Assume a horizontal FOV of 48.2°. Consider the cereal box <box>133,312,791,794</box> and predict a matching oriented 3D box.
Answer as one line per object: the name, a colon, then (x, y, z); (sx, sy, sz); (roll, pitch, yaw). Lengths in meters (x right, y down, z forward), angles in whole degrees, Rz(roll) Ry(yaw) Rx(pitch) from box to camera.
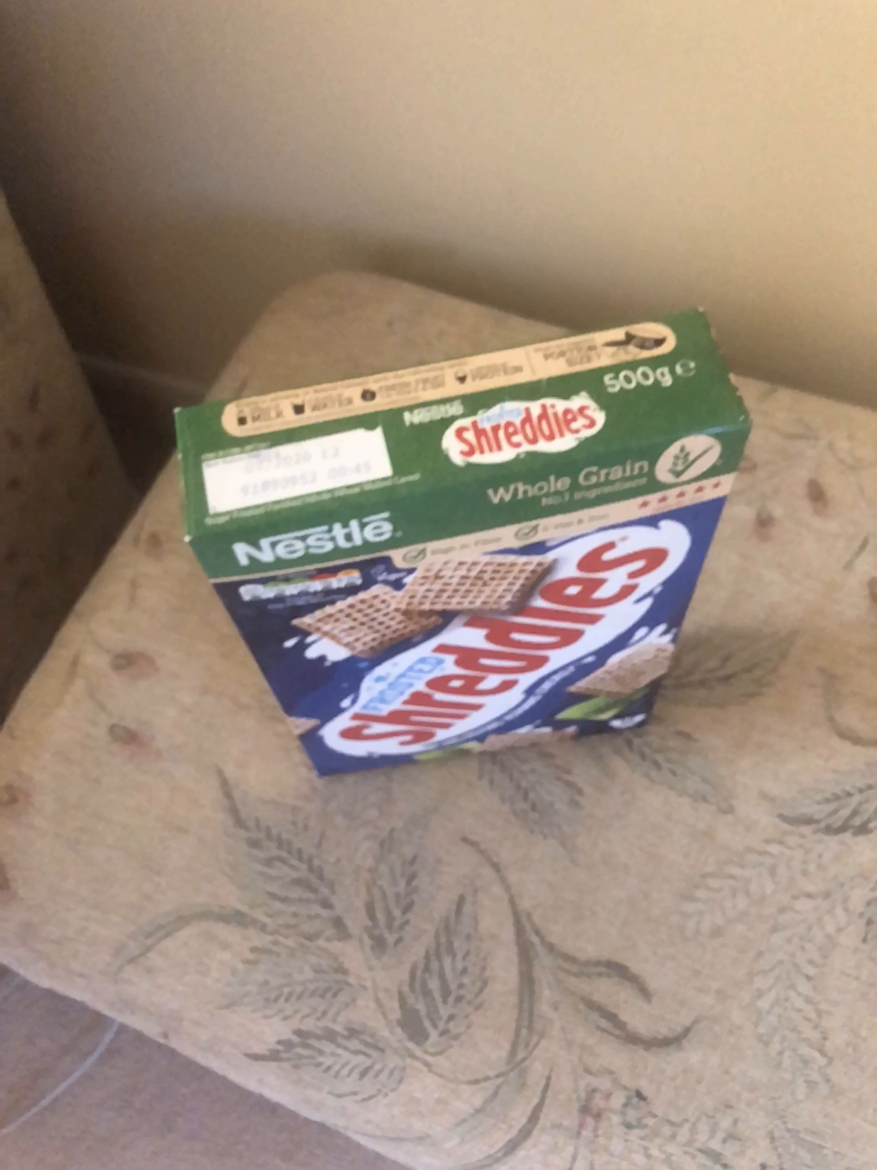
cereal box: (0.010, 0.010, 0.424); (0.200, 0.259, 0.060); (-9, 63, -2)
